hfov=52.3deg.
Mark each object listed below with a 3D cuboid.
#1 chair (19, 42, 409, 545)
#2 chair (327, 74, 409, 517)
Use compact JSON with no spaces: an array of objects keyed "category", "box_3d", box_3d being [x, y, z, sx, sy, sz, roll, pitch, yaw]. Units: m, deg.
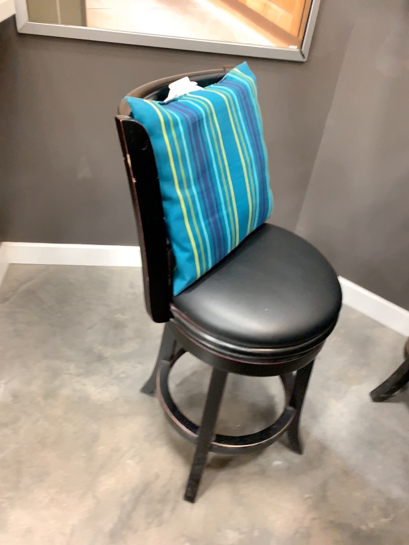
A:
[{"category":"chair","box_3d":[0.063,0.058,0.960,0.596,0.903,0.537,31,44,26]},{"category":"chair","box_3d":[0.862,0.054,1.155,0.596,0.923,0.537,31,44,26]}]
